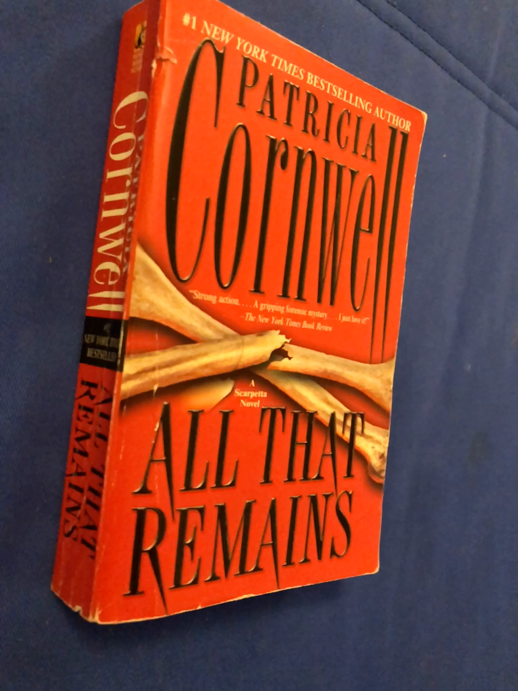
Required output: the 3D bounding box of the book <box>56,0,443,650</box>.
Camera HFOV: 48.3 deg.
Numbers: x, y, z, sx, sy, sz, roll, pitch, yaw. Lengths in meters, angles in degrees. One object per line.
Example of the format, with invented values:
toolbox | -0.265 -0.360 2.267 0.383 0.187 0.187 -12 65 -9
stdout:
book | 0.004 -0.006 0.185 0.110 0.030 0.166 6 90 -39
